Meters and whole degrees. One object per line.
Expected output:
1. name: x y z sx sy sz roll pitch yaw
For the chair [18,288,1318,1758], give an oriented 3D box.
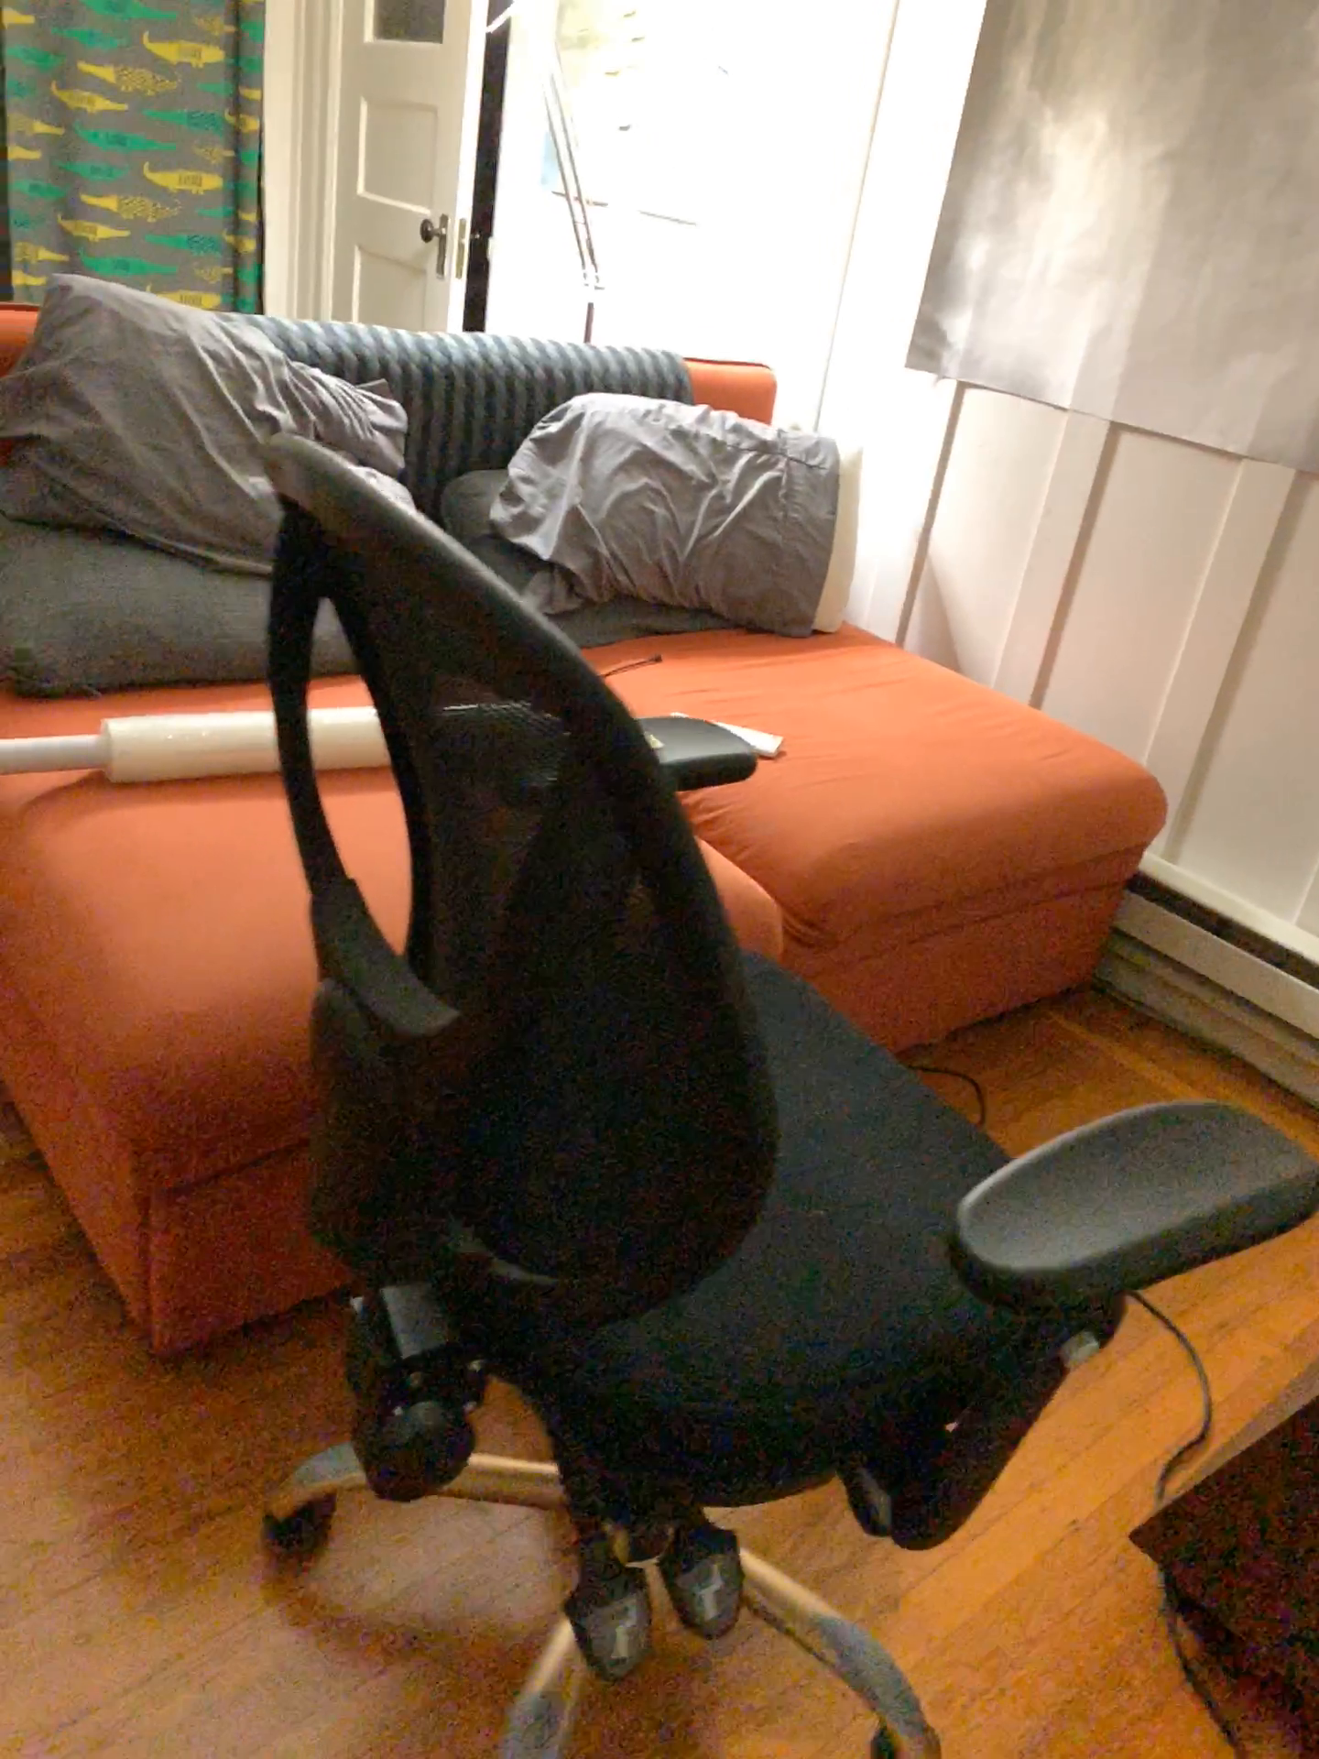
1. chair: -0.003 0.146 0.993 0.661 0.974 0.643 -11 33 -27
